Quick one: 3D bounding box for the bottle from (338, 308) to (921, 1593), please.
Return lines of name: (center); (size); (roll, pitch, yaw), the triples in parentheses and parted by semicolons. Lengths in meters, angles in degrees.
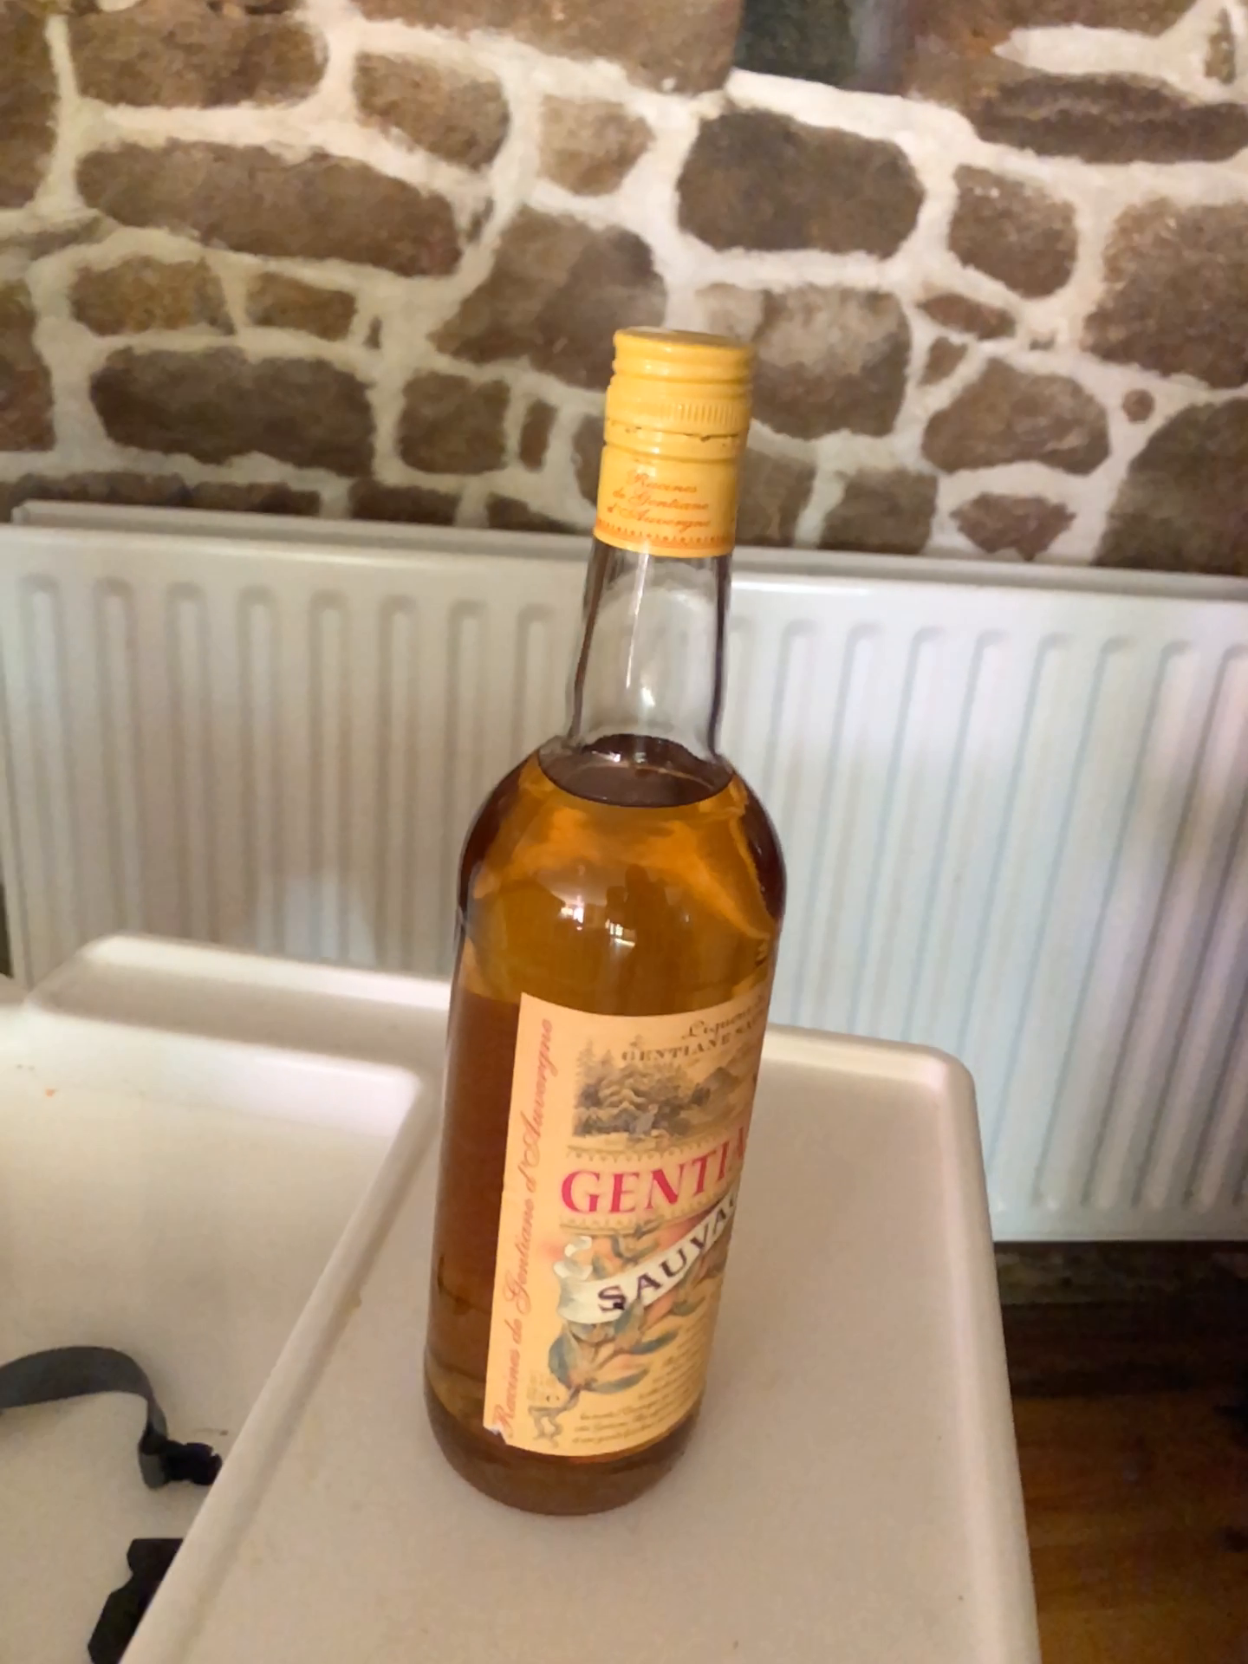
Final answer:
bottle: (-0.010, 0.033, 0.344); (0.090, 0.298, 0.080); (-16, 31, -38)
